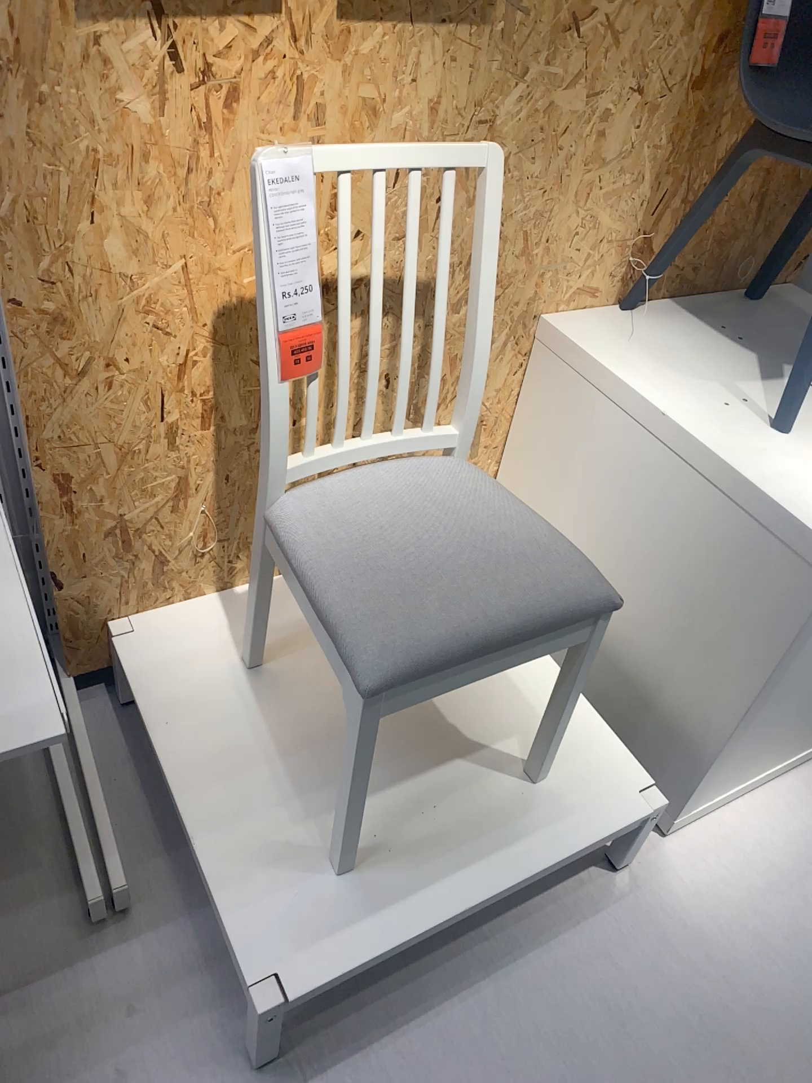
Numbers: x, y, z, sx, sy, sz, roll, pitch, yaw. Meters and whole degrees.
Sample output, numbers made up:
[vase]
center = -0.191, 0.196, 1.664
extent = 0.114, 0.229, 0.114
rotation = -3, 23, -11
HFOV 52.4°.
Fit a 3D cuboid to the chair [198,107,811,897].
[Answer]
[chair]
center = 0.017, -0.038, 1.139
extent = 0.431, 0.886, 0.511
rotation = -15, 47, -28
